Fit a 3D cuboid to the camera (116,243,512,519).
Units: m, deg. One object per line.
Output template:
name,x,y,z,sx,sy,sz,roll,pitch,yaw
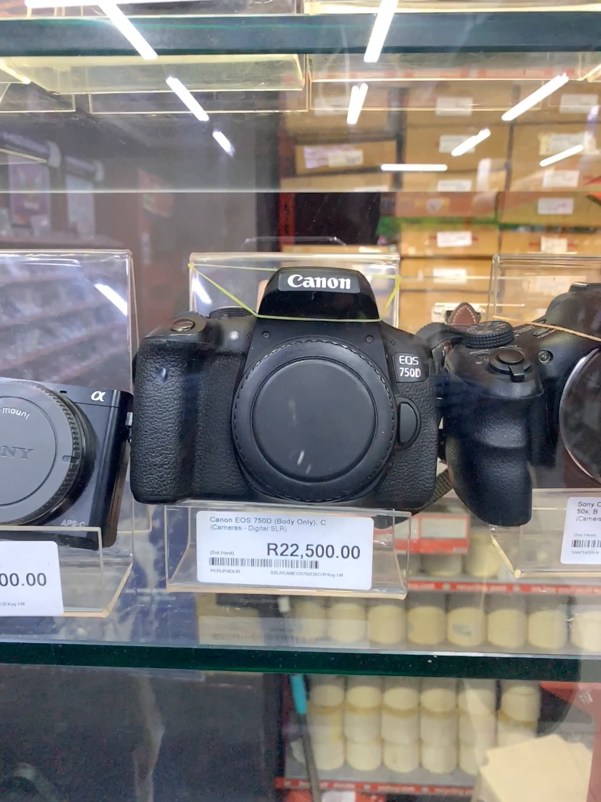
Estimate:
camera,0.002,-0.012,0.247,0.130,0.090,0.070,2,12,-3
